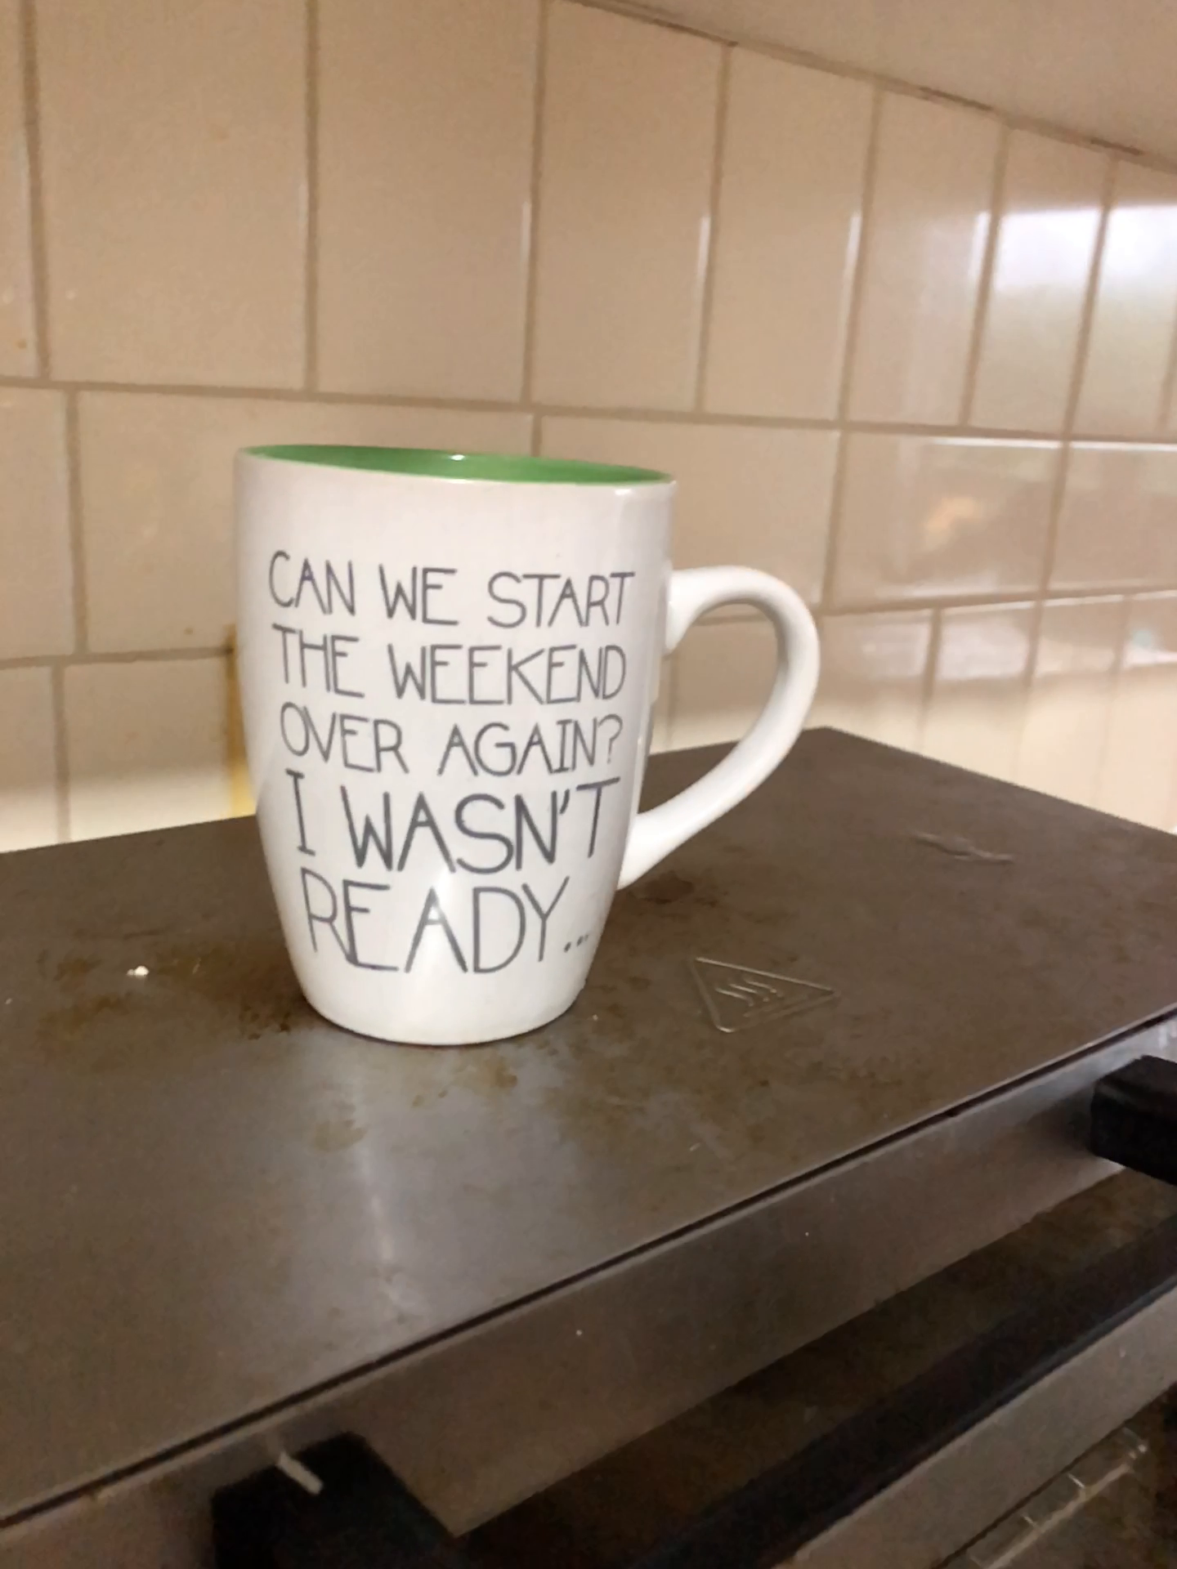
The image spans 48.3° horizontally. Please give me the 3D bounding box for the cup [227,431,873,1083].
[{"bbox_3d":[-0.015,-0.011,0.264,0.110,0.110,0.070,-1,16,-15],"label":"cup"}]
